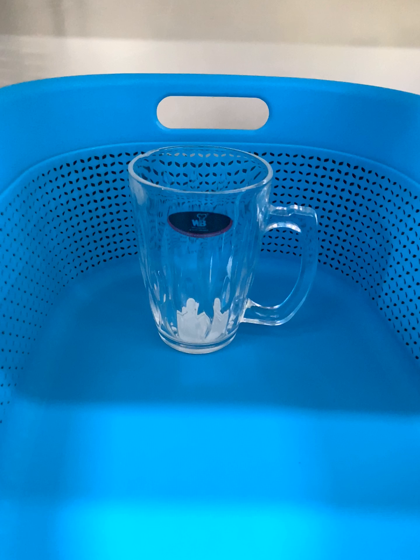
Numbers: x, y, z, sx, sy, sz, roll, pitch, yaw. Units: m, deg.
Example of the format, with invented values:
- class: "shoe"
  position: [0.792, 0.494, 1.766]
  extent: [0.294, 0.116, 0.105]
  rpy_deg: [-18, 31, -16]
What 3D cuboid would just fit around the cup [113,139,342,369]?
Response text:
- class: "cup"
  position: [0.005, -0.017, 0.270]
  extent: [0.109, 0.116, 0.078]
  rpy_deg: [-1, 33, -5]
